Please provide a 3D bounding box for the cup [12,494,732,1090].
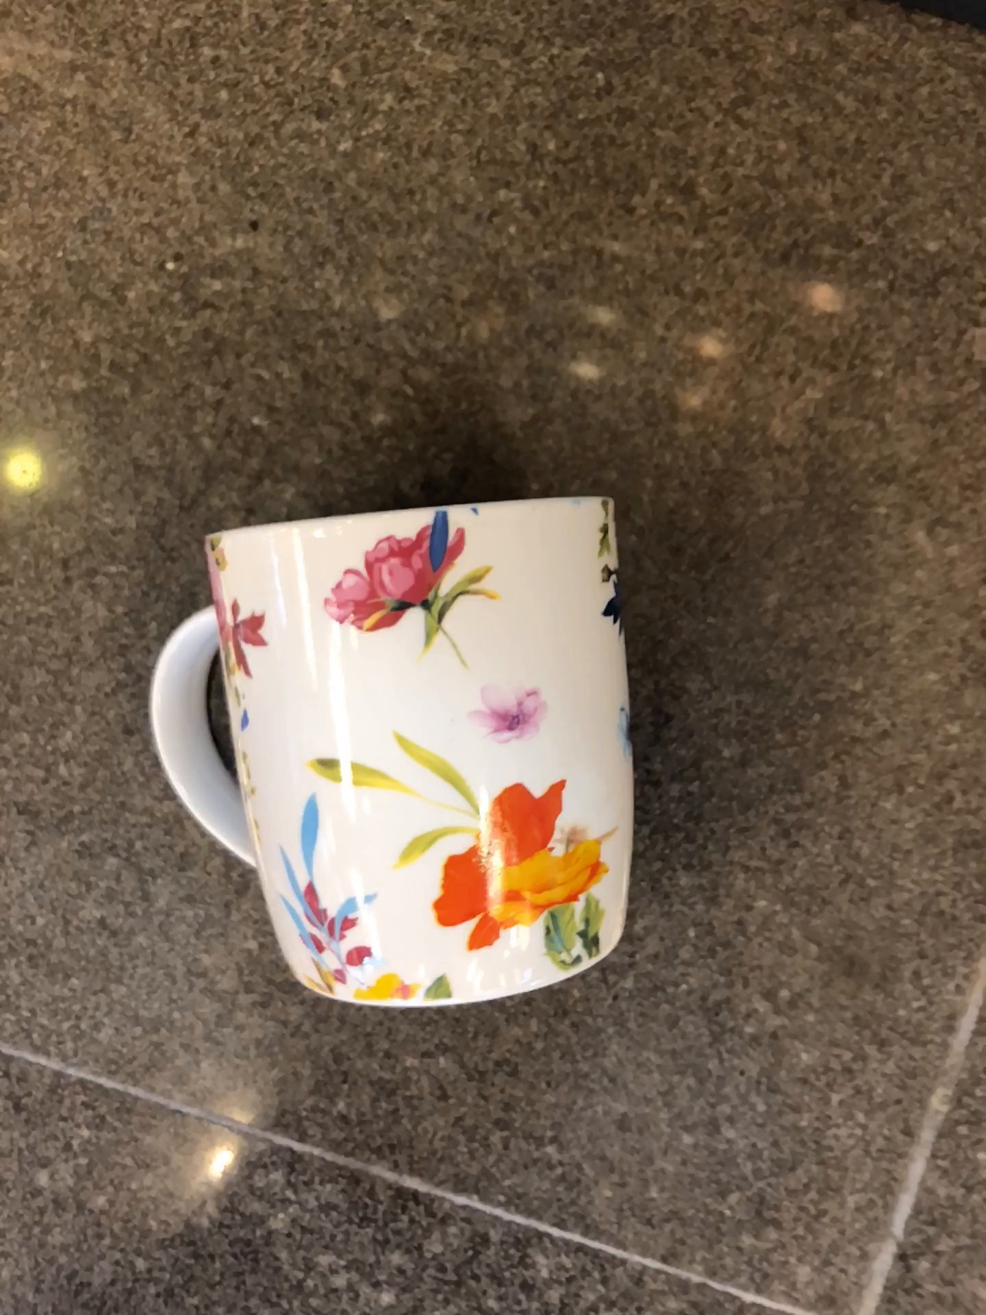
[{"bbox_3d":[-0.026,0.019,0.233,0.120,0.080,0.090,-3,95,38],"label":"cup"}]
